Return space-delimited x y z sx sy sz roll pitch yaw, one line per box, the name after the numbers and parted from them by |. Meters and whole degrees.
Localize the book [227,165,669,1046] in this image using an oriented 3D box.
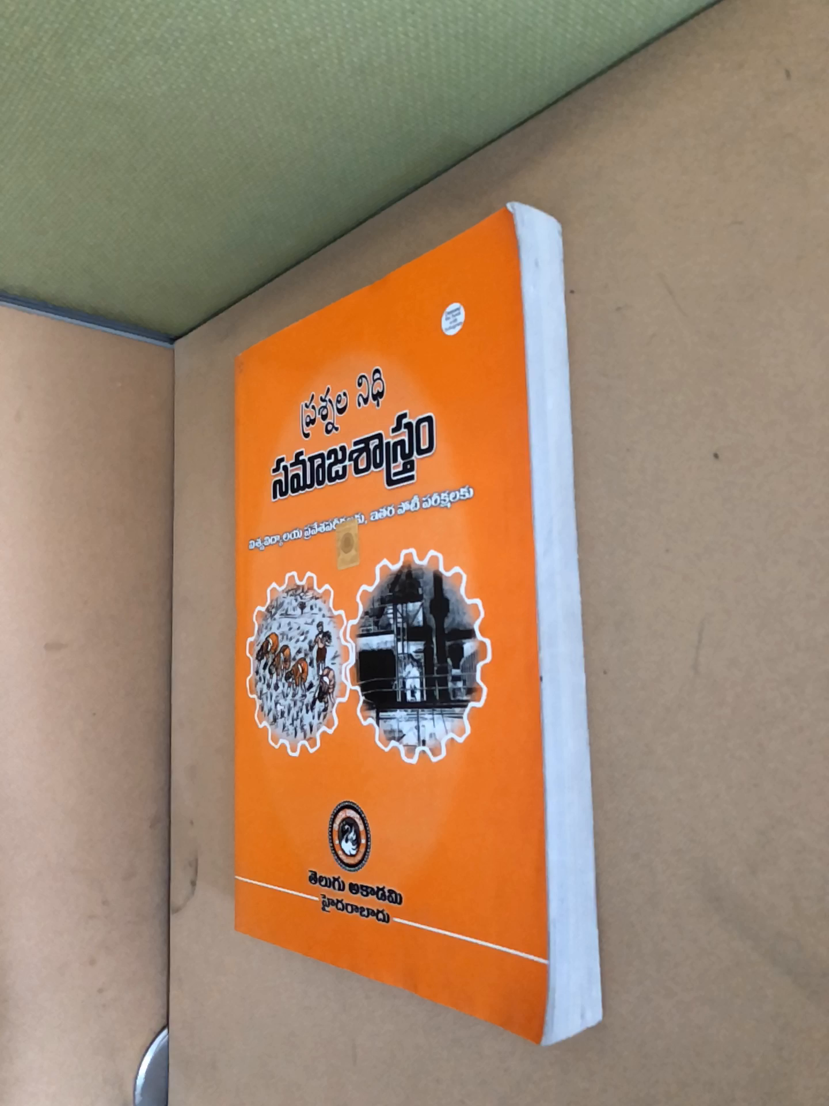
-0.004 0.022 0.395 0.211 0.050 0.290 -11 77 48 | book
